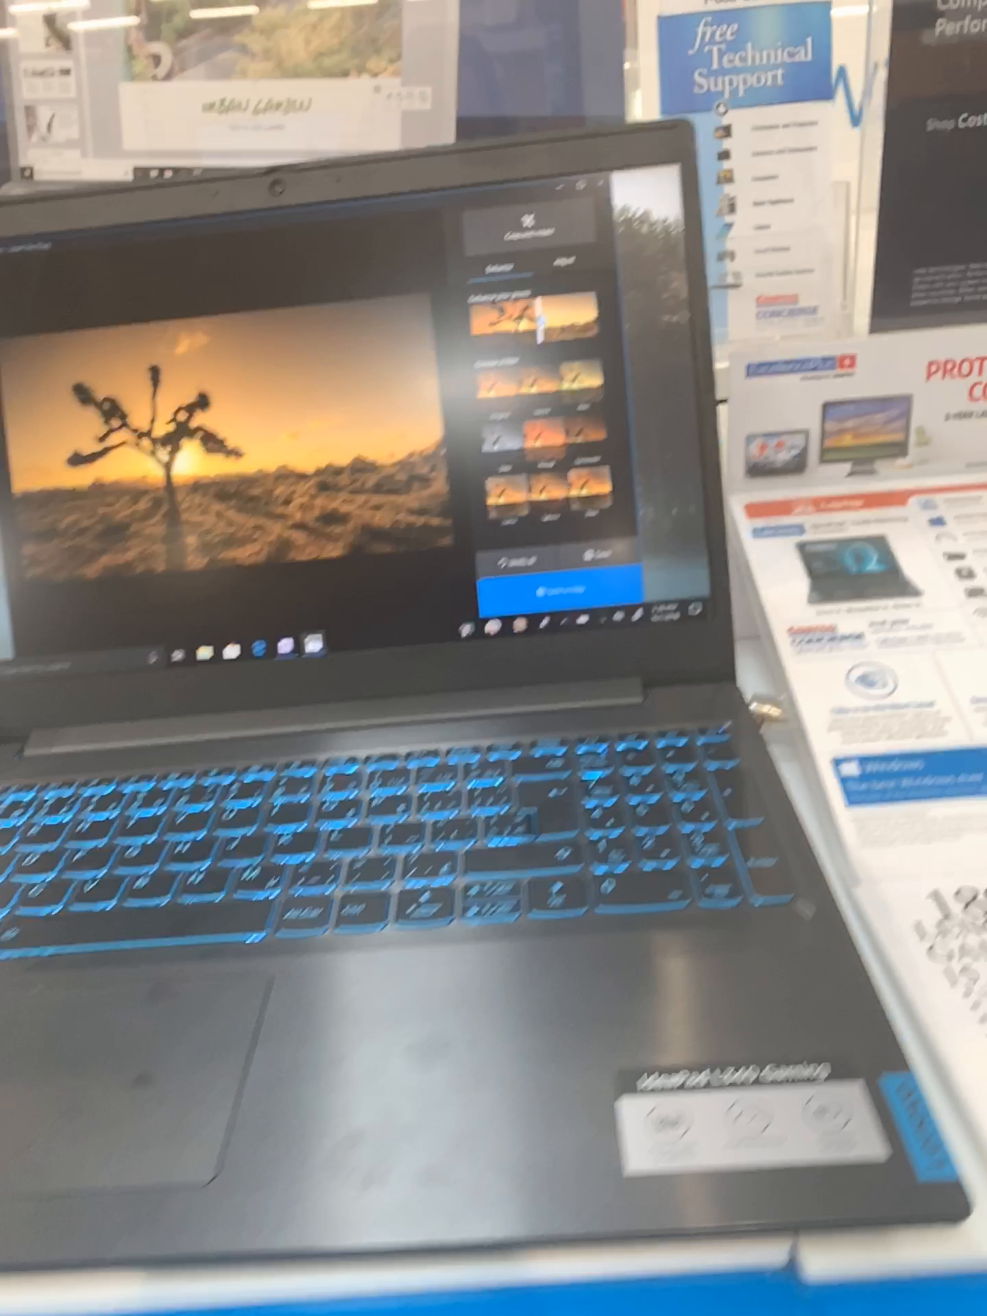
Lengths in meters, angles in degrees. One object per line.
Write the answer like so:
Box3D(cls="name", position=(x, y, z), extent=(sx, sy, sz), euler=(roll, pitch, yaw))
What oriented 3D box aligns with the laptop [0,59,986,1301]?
Box3D(cls="laptop", position=(-0.065, -0.039, 0.330), extent=(0.340, 0.214, 0.330), euler=(-5, 26, 2))
